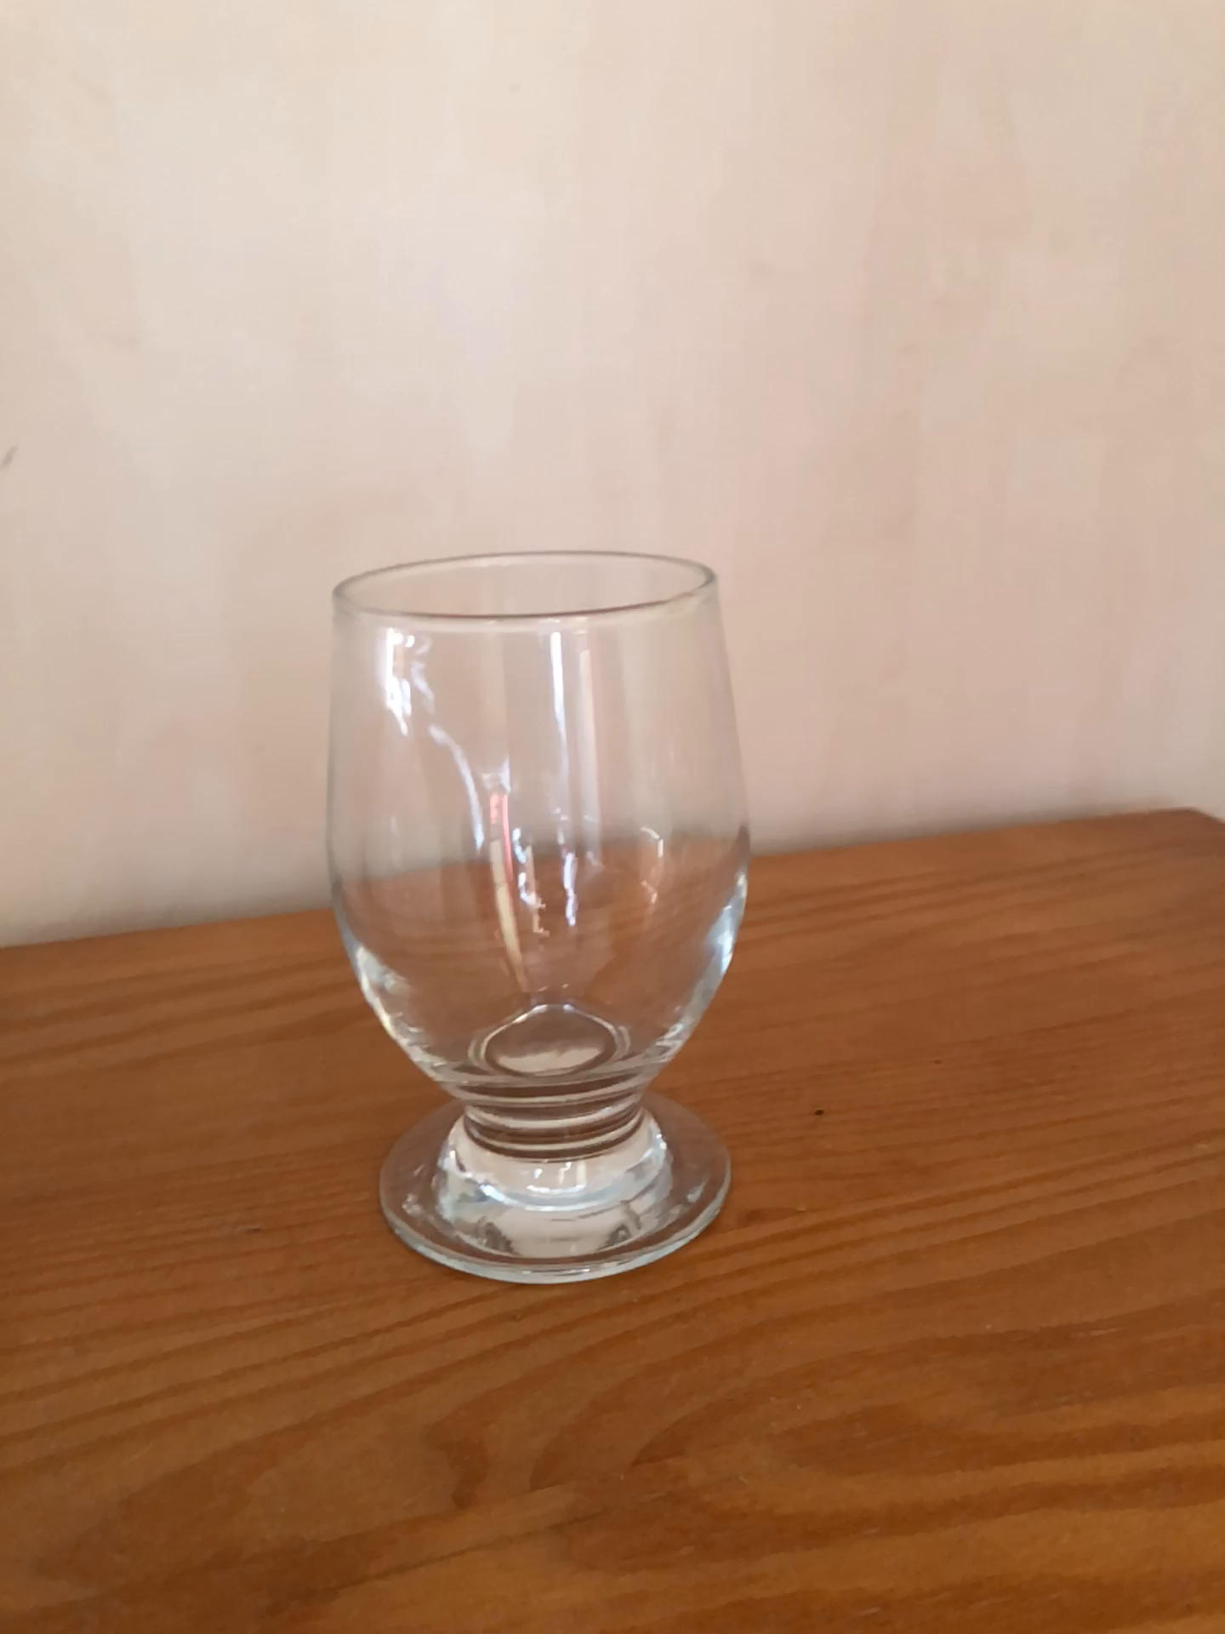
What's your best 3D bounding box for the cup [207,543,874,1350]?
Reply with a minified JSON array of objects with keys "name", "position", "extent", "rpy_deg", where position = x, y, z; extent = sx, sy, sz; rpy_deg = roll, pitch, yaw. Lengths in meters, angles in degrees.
[{"name":"cup","position":[-0.014,0.012,0.243],"extent":[0.078,0.107,0.082],"rpy_deg":[0,17,0]}]
